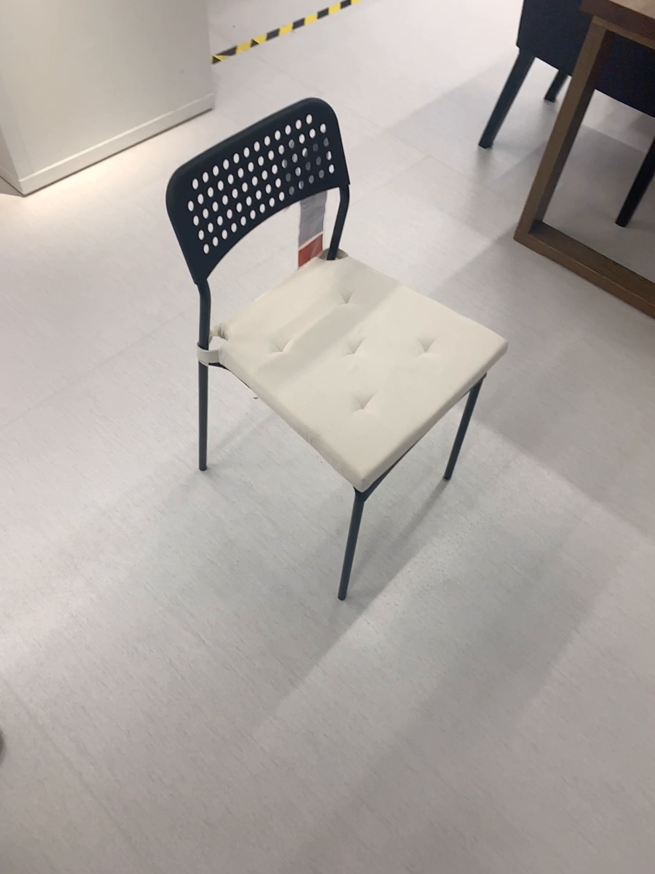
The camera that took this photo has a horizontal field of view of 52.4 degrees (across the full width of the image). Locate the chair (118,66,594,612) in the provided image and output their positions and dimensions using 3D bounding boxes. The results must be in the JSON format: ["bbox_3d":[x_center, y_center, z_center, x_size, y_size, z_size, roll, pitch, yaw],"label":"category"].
[{"bbox_3d":[0.022,-0.131,1.235,0.490,0.758,0.451,37,61,20],"label":"chair"}]
